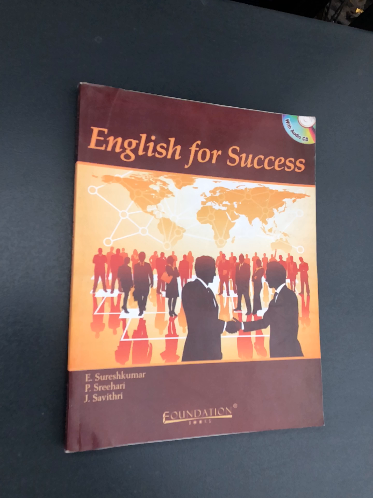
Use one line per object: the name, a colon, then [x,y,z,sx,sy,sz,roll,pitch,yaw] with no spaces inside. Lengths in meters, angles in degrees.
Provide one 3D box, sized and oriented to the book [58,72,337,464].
book: [0.012,0.009,0.294,0.190,0.030,0.240,2,82,-18]
